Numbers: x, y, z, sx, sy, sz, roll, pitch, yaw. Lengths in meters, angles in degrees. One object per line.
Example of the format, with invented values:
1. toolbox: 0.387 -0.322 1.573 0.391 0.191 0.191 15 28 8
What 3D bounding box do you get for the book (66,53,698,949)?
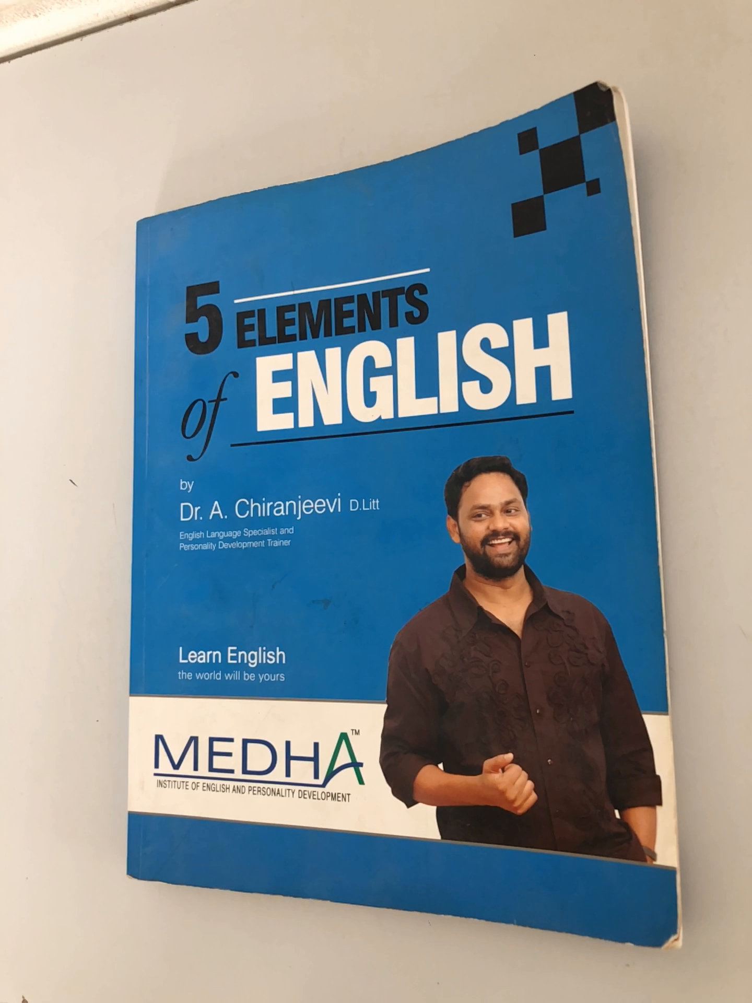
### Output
1. book: -0.011 0.000 0.245 0.180 0.020 0.220 -5 82 21
